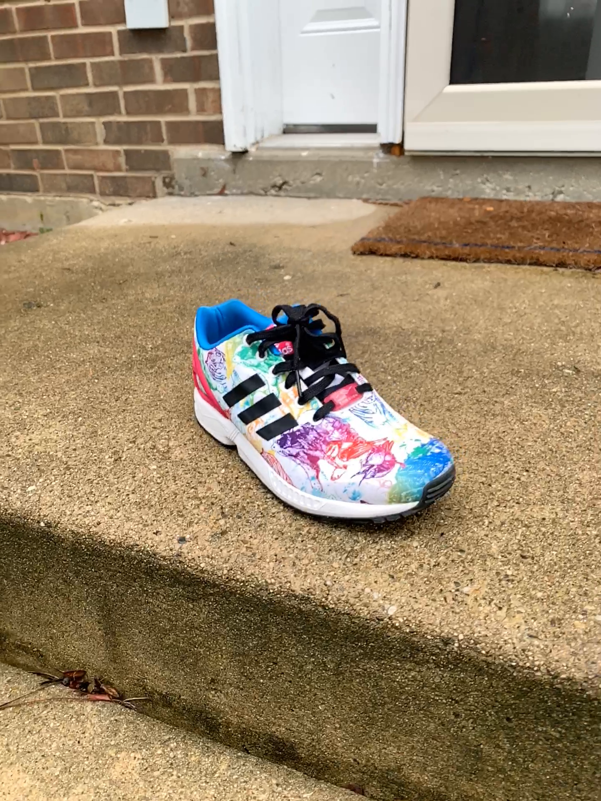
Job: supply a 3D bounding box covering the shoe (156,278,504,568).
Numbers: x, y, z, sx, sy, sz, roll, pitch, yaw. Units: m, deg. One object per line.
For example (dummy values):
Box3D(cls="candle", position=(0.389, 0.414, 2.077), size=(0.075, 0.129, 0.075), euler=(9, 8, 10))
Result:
Box3D(cls="shoe", position=(0.007, -0.005, 0.461), size=(0.110, 0.104, 0.246), euler=(-22, 33, -34))
